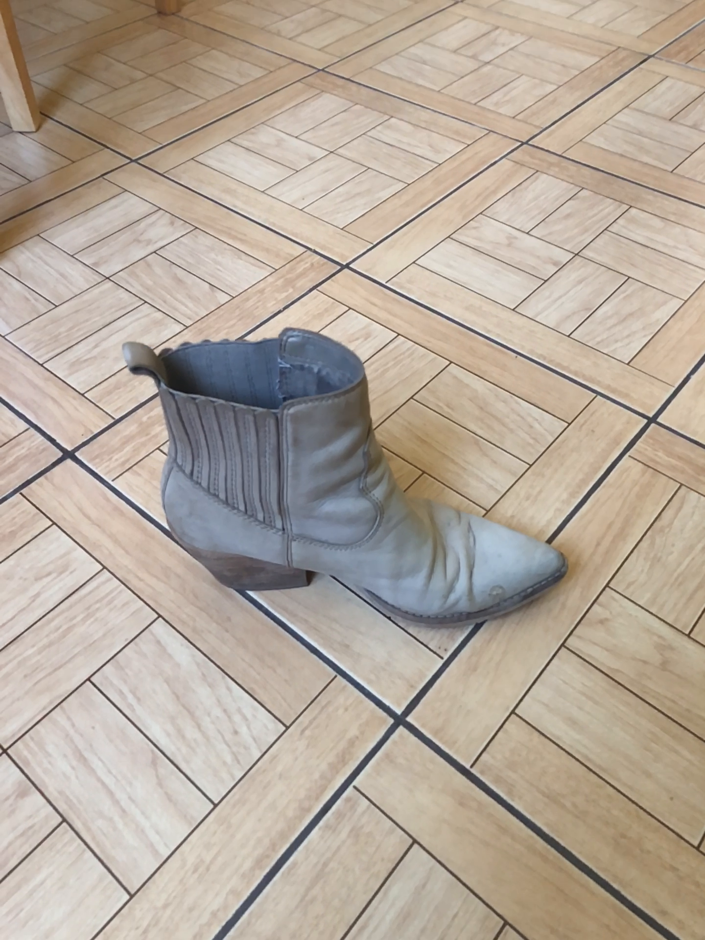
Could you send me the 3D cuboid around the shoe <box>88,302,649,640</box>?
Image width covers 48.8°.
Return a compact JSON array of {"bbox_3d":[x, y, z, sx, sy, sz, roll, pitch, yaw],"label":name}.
[{"bbox_3d":[0.008,0.008,0.457,0.260,0.180,0.090,3,49,2],"label":"shoe"}]
